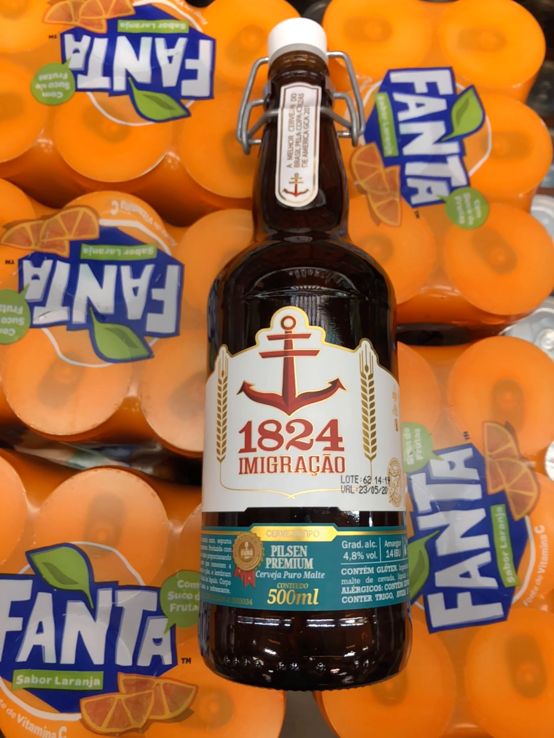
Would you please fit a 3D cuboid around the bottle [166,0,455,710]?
[{"bbox_3d":[0.008,-0.025,0.219,0.080,0.050,0.250,0,79,-3],"label":"bottle"}]
